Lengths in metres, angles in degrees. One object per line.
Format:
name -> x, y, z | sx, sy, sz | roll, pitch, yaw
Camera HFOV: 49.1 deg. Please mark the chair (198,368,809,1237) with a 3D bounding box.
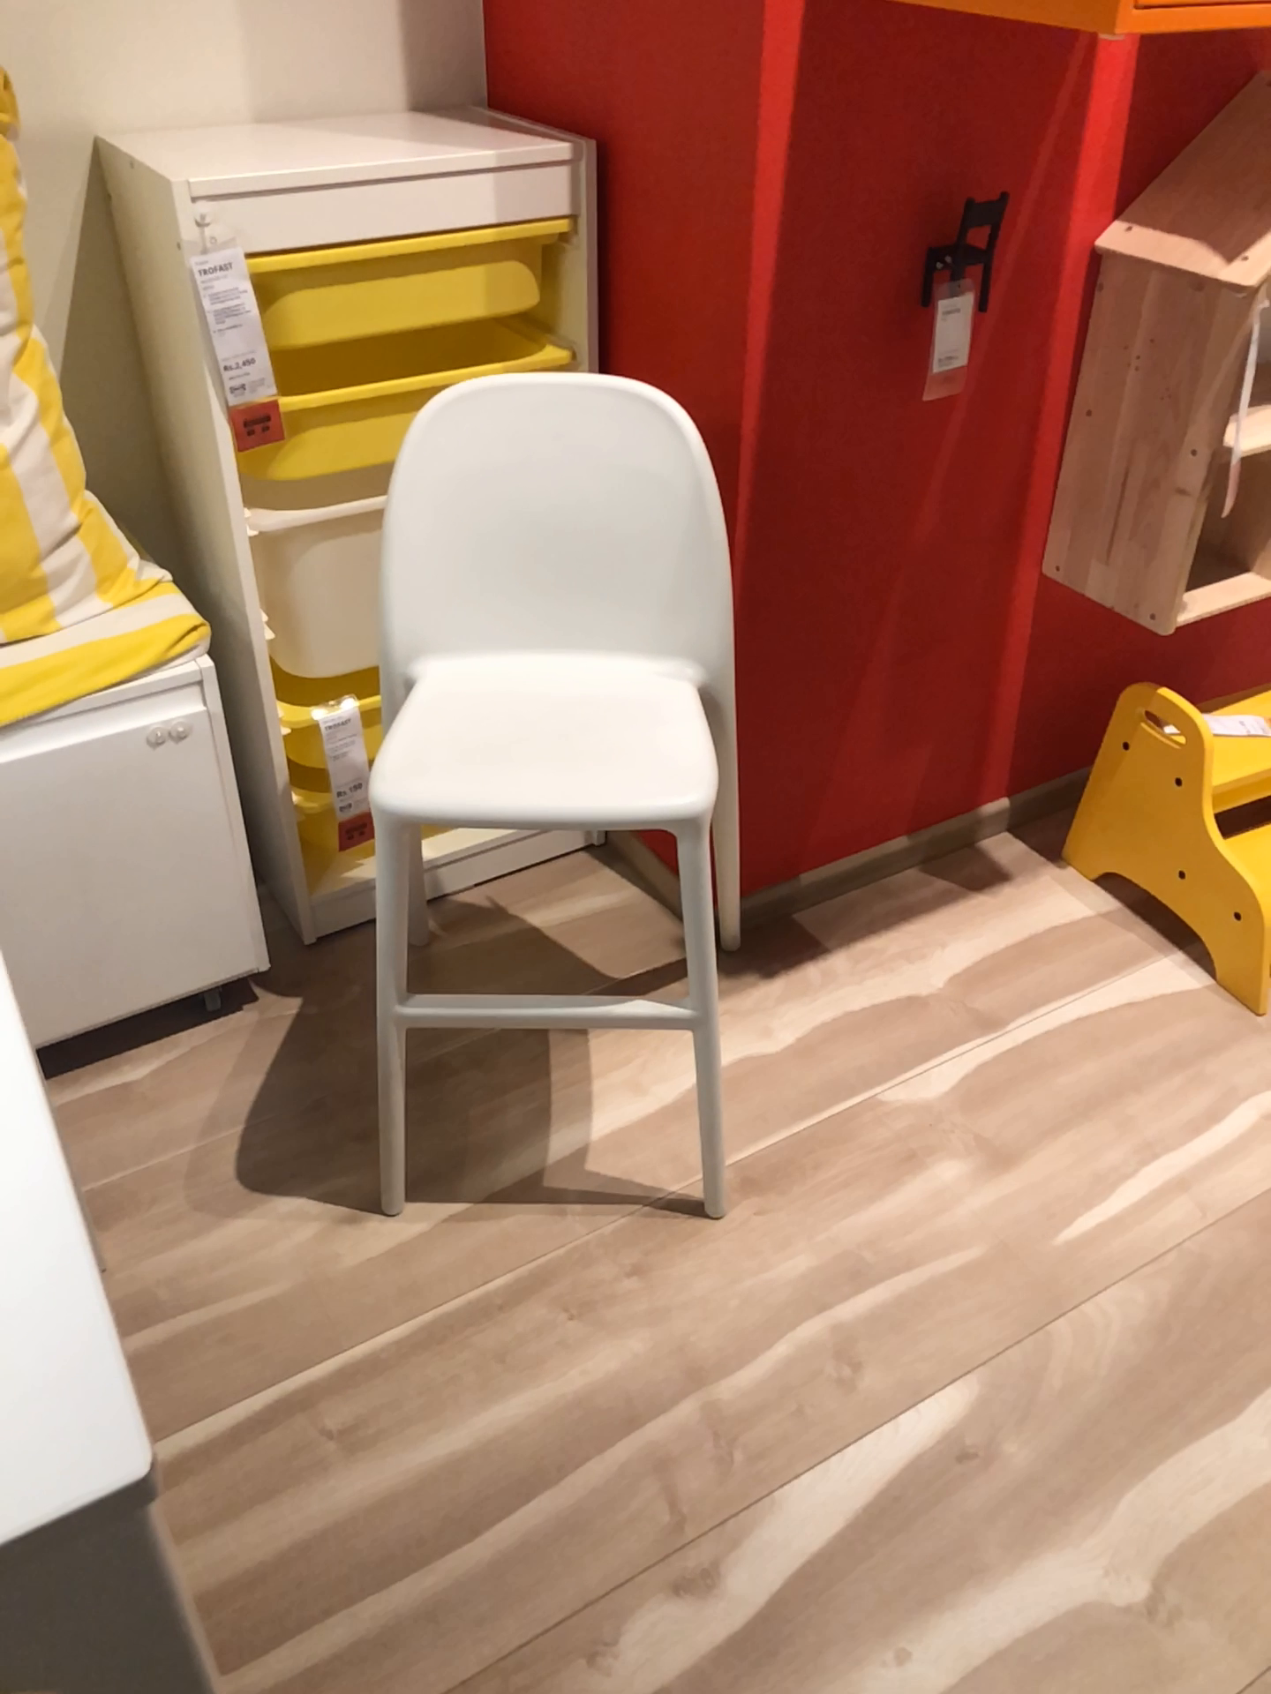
chair -> -0.095, -0.031, 1.356 | 0.420, 0.705, 0.463 | 0, 38, 0
